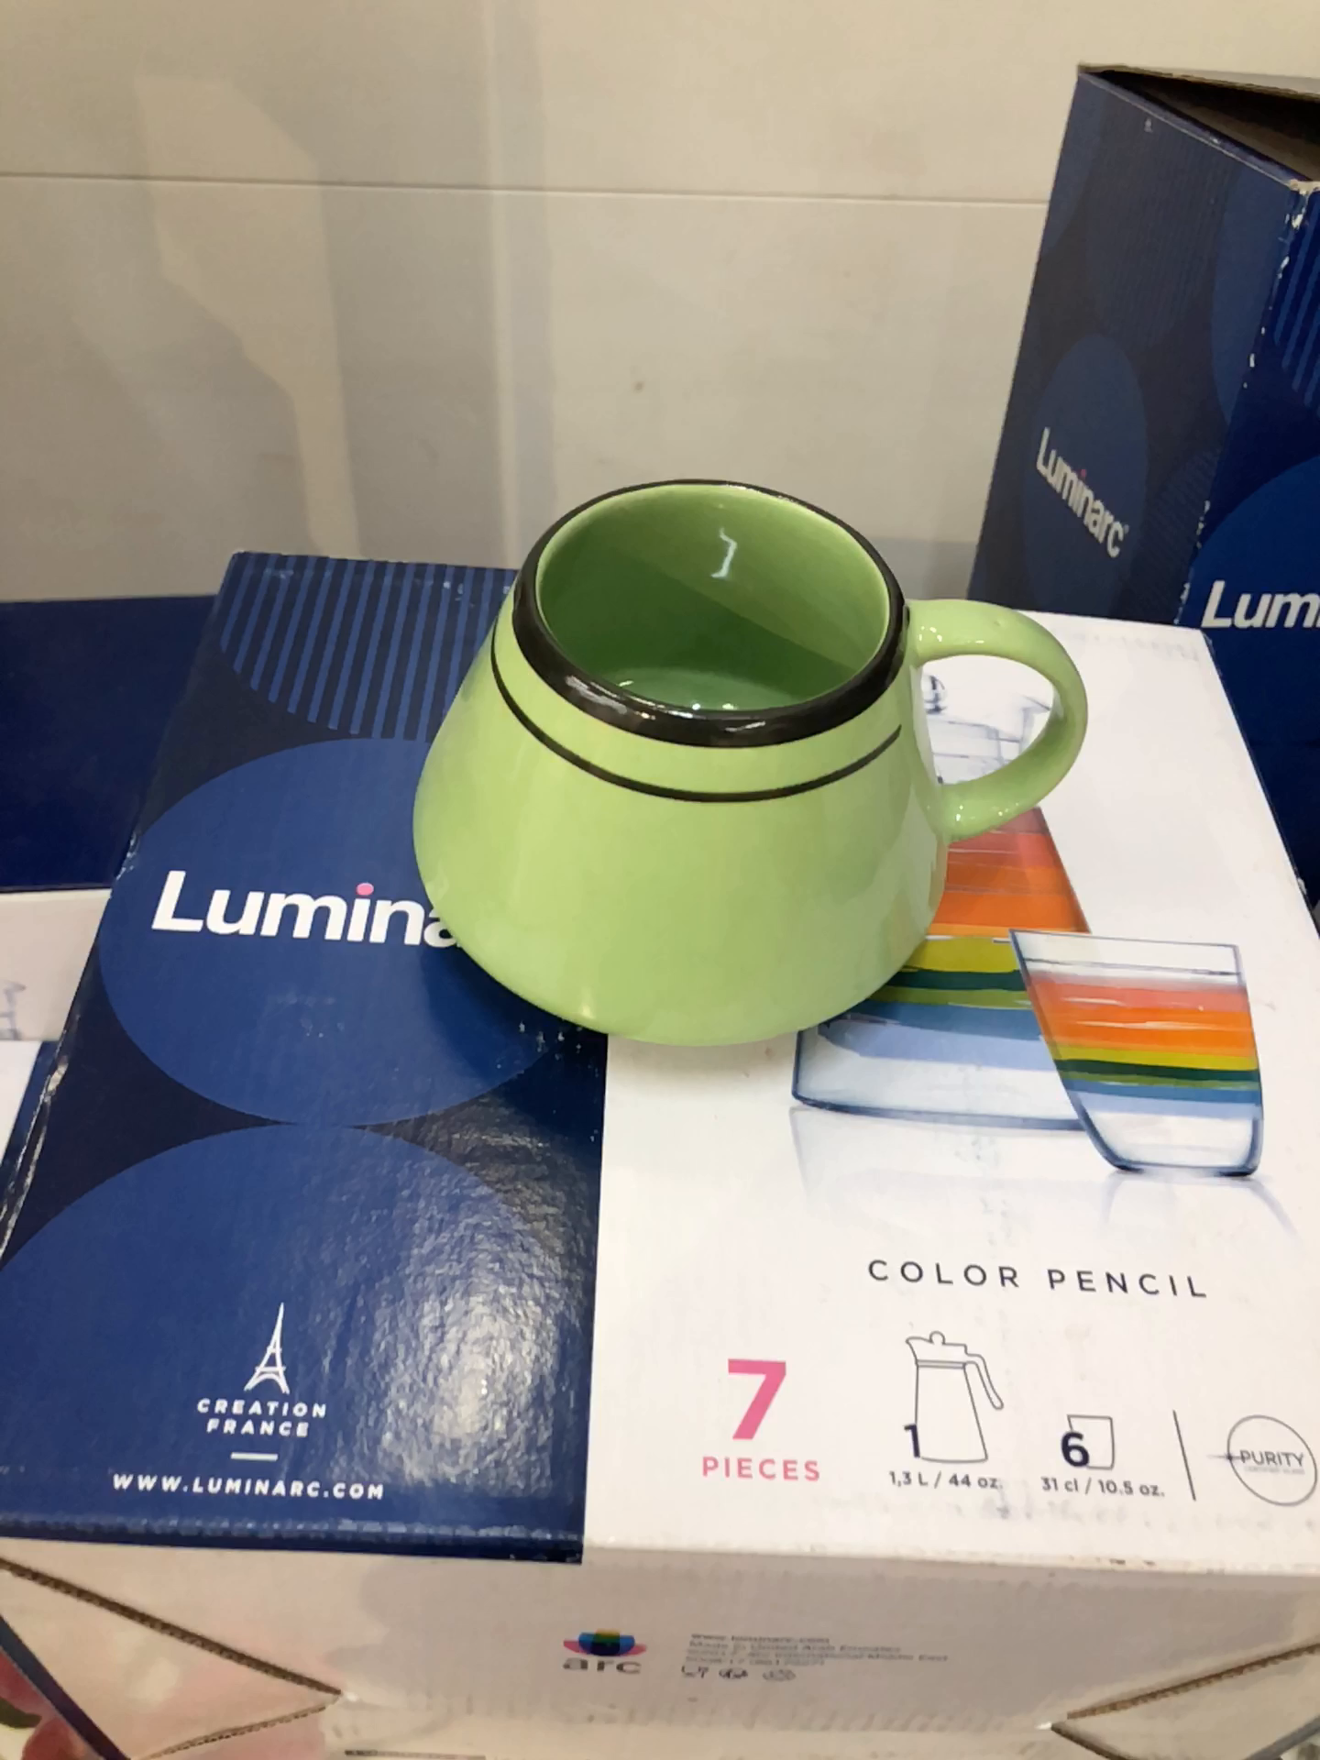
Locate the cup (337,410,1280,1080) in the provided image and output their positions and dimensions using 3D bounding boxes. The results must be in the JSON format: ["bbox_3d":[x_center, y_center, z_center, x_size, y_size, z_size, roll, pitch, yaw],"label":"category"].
[{"bbox_3d":[0.023,-0.031,0.282,0.140,0.070,0.111,3,41,1],"label":"cup"}]
